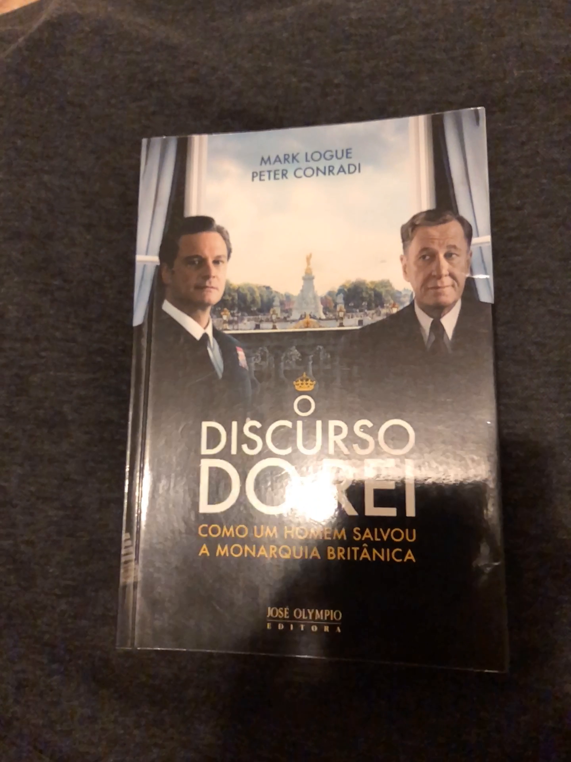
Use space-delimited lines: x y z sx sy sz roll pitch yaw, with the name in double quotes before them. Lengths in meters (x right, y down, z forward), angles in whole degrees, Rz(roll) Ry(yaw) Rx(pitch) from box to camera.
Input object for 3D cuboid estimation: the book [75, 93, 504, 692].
"book" 0.002 -0.002 0.270 0.160 0.030 0.230 -1 79 11
